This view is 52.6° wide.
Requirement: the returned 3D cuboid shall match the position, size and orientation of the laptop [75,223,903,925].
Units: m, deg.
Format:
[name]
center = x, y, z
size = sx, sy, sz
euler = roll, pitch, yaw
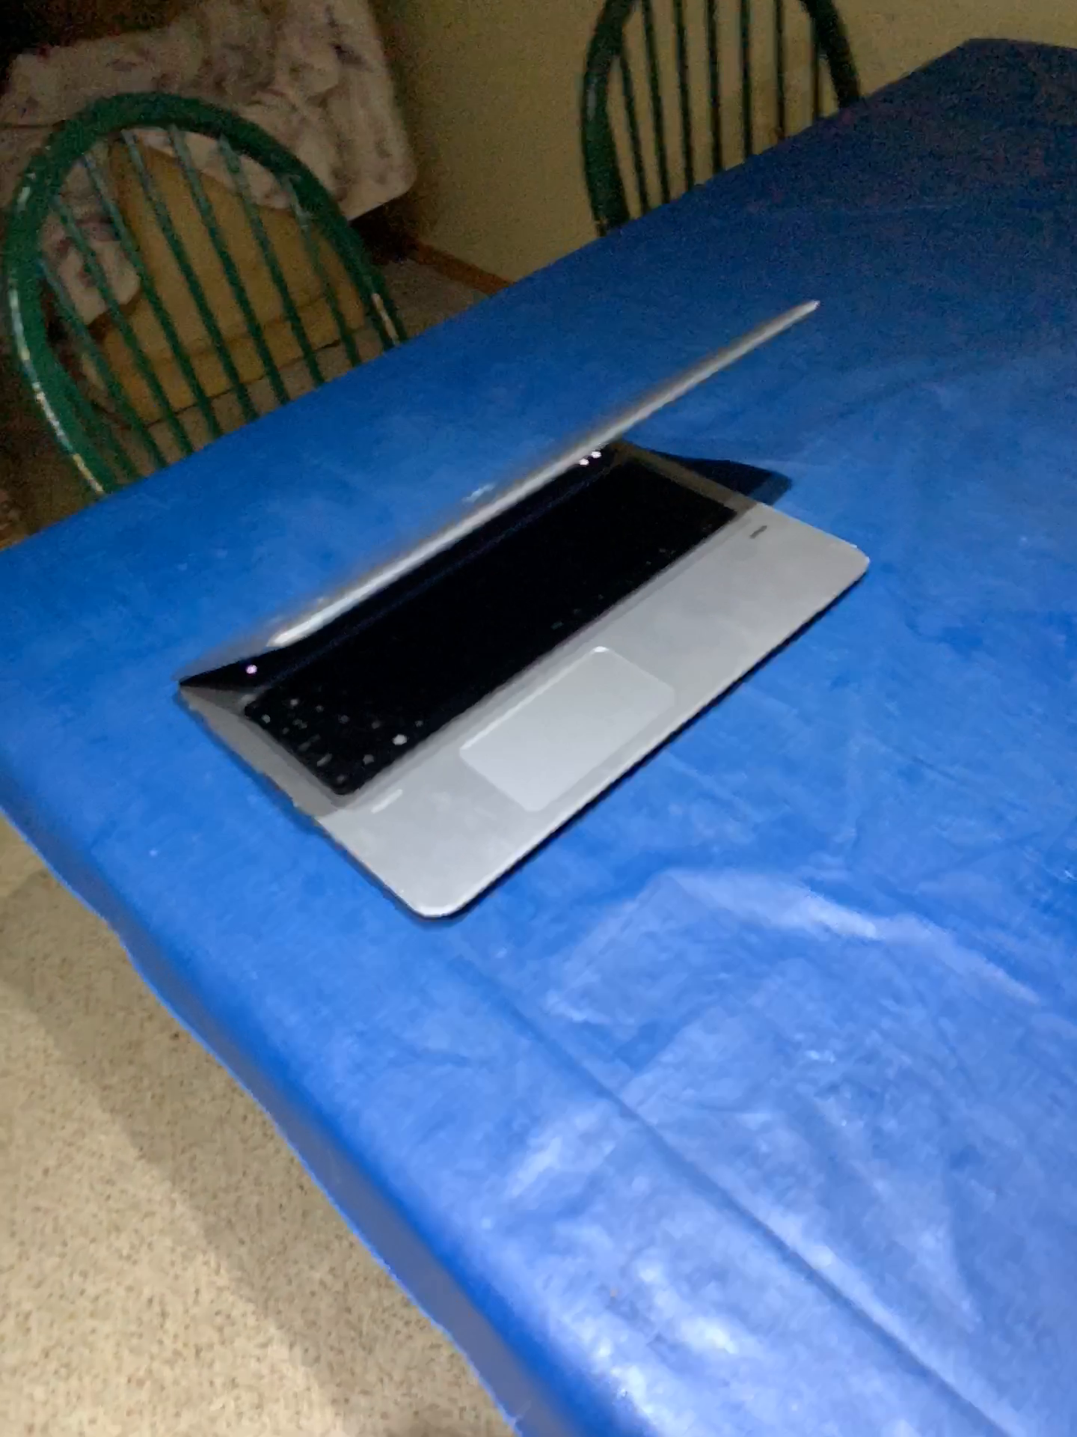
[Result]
[laptop]
center = -0.016, -0.113, 0.634
size = 0.366, 0.156, 0.254
euler = -37, 53, -25
